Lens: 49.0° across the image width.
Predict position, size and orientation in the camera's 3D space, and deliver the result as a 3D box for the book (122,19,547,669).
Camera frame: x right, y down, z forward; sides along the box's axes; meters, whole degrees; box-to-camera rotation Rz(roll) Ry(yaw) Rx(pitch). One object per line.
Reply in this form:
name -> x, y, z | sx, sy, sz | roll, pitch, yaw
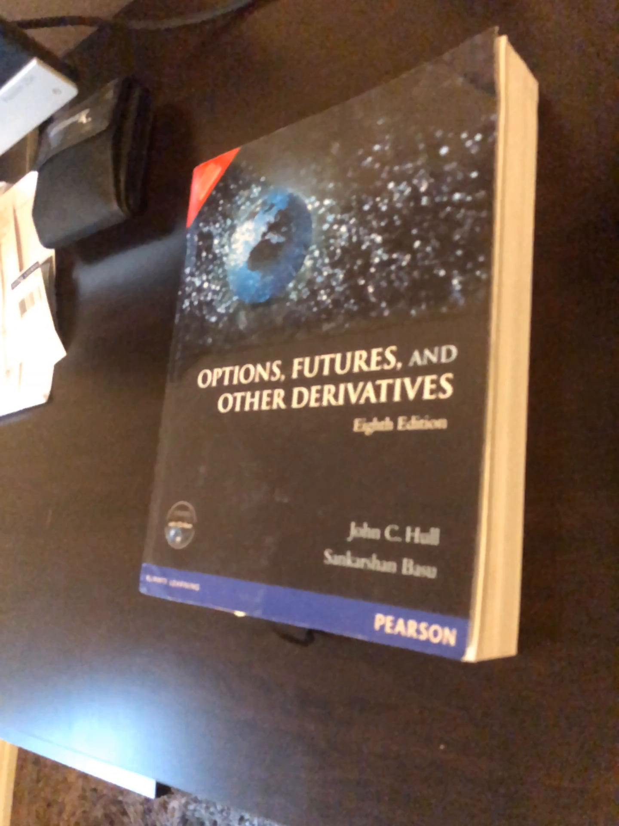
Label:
book -> 0.005, -0.028, 0.348 | 0.208, 0.050, 0.261 | -3, 77, 40
